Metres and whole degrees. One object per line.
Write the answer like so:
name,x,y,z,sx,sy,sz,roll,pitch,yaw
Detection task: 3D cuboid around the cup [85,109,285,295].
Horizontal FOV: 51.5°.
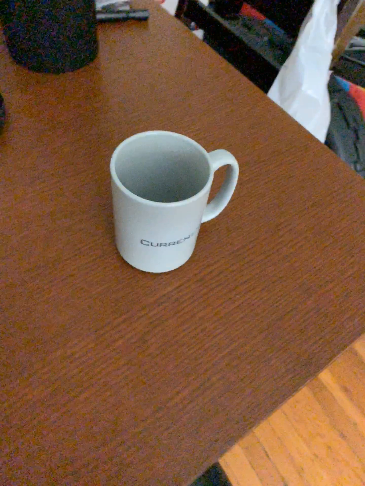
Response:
cup,-0.005,-0.039,0.361,0.140,0.110,0.100,-17,60,-17
